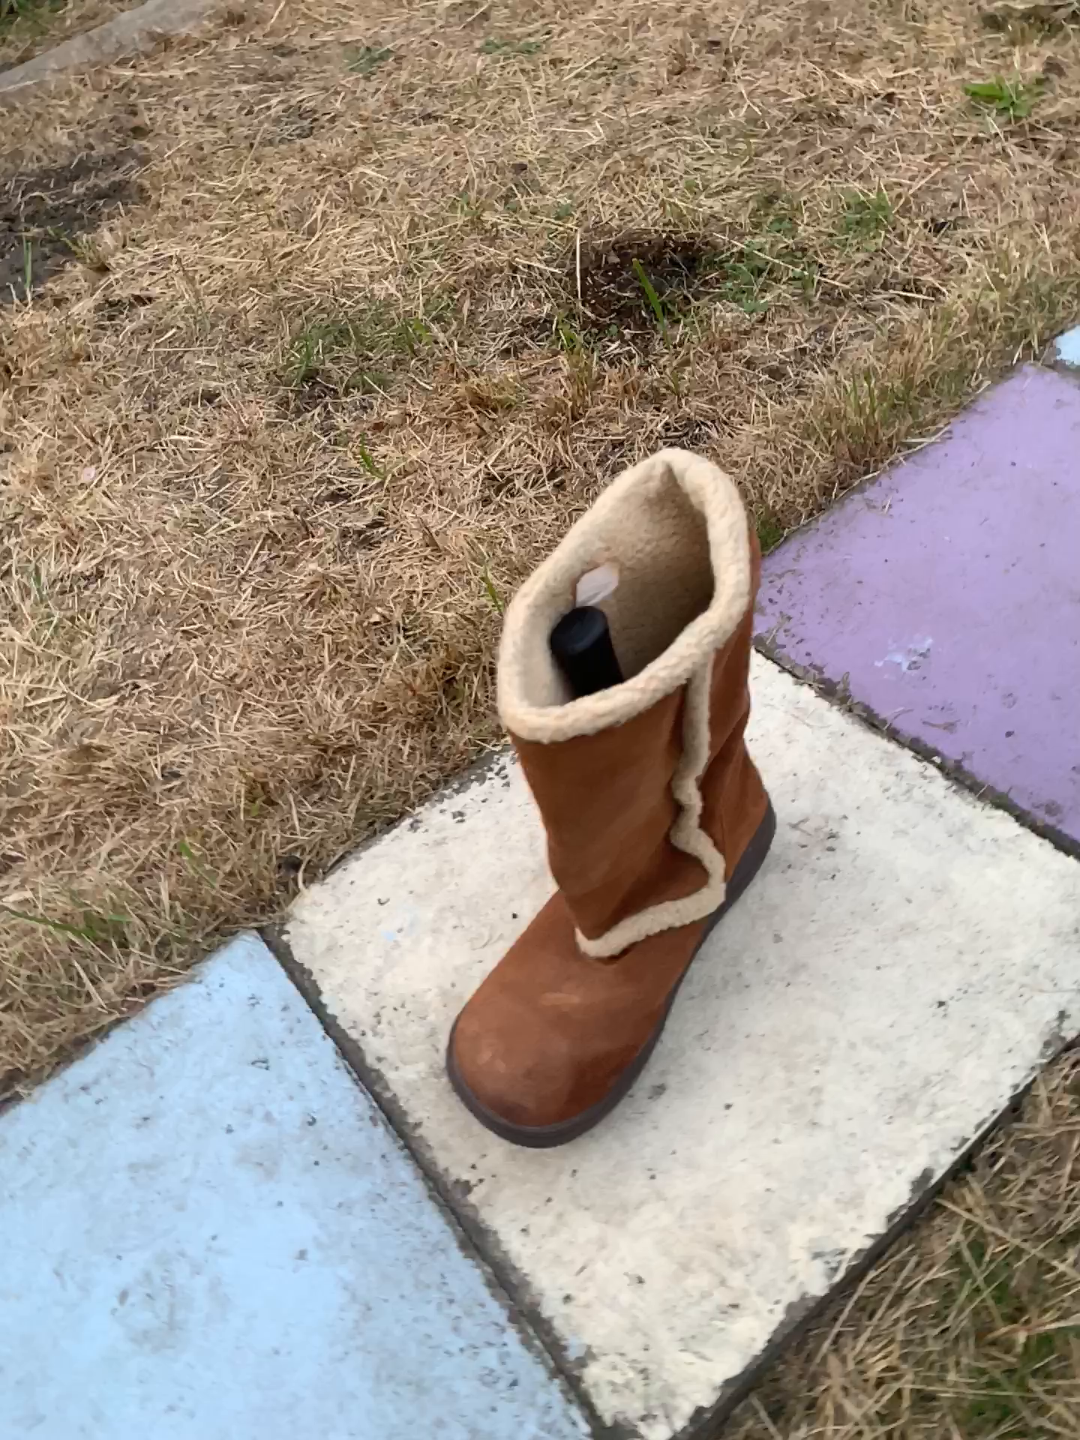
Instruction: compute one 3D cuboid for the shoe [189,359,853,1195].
[{"bbox_3d":[0.026,0.038,0.527,0.111,0.297,0.261,30,62,33],"label":"shoe"}]
